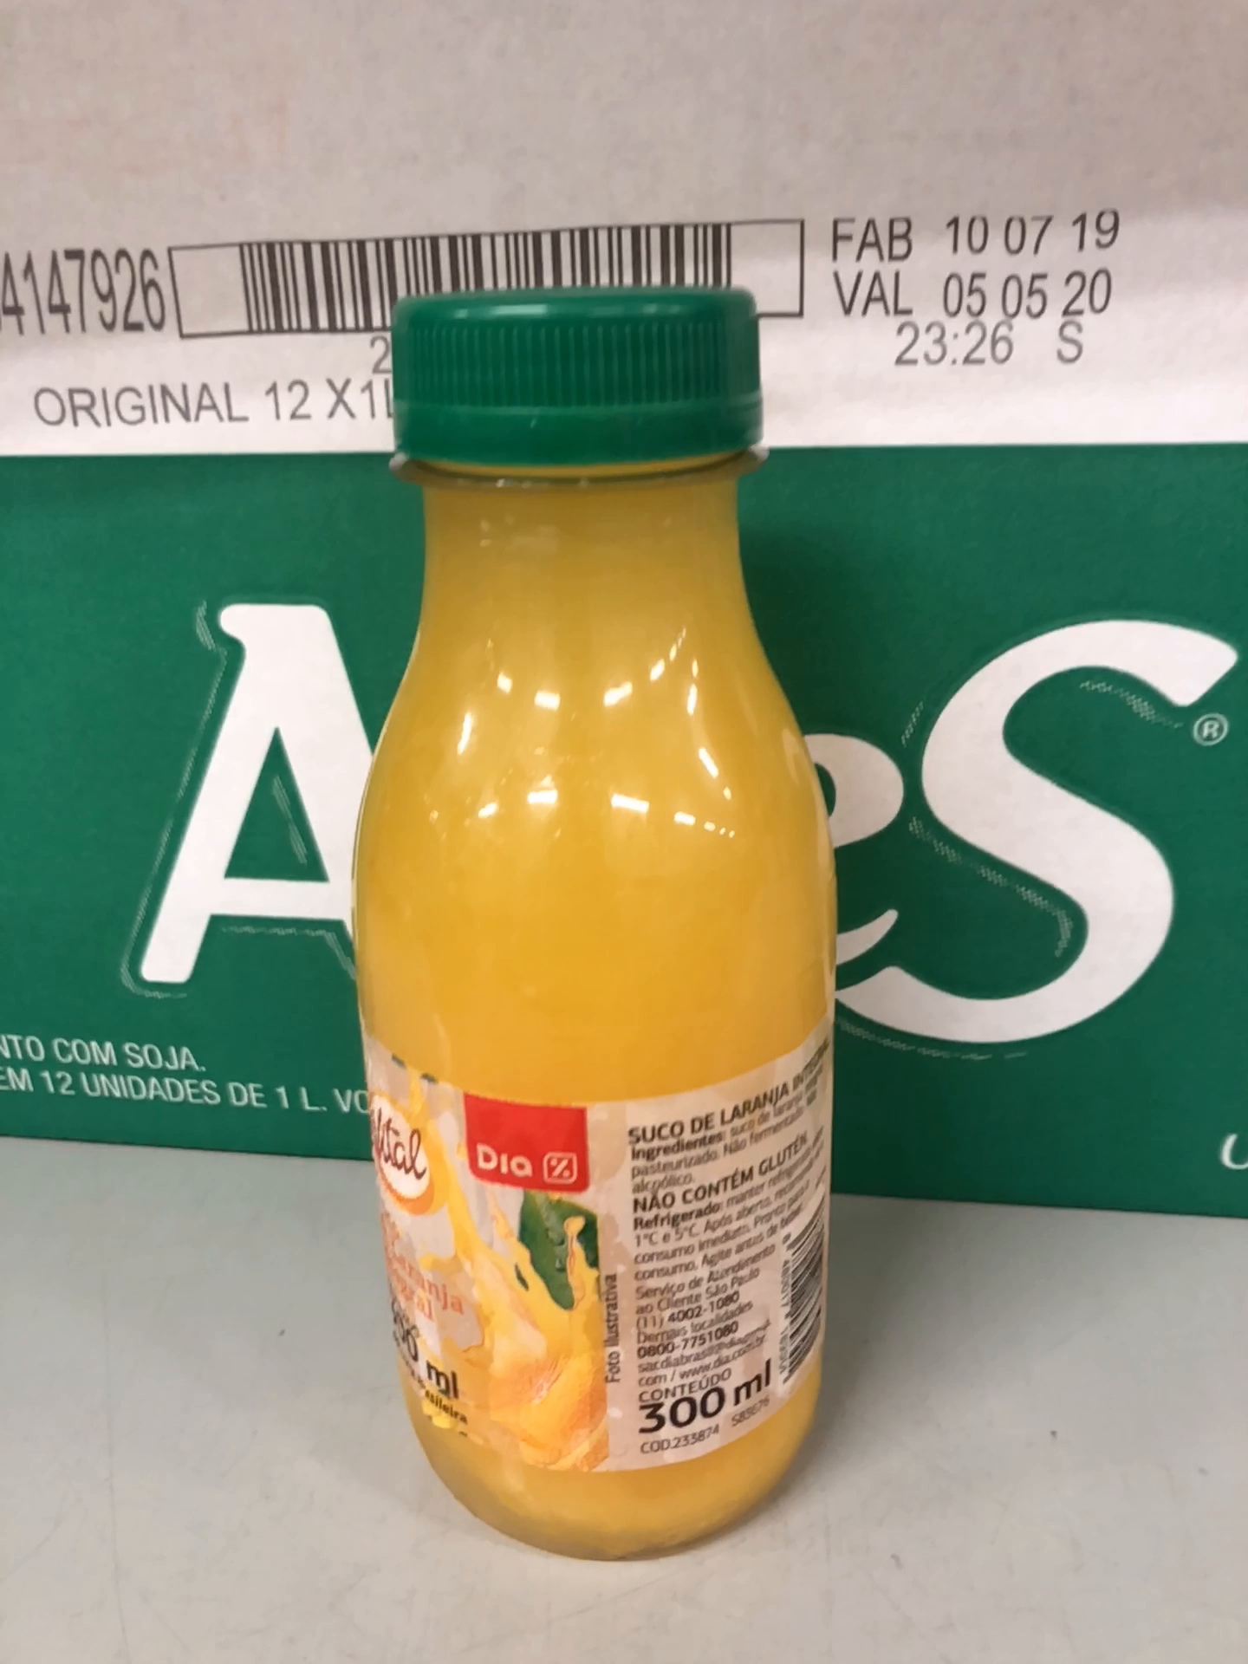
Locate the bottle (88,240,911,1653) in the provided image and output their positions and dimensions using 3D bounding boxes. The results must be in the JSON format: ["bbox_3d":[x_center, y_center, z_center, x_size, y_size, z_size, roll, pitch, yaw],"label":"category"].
[{"bbox_3d":[-0.011,0.010,0.186,0.060,0.159,0.070,-23,30,-39],"label":"bottle"}]
